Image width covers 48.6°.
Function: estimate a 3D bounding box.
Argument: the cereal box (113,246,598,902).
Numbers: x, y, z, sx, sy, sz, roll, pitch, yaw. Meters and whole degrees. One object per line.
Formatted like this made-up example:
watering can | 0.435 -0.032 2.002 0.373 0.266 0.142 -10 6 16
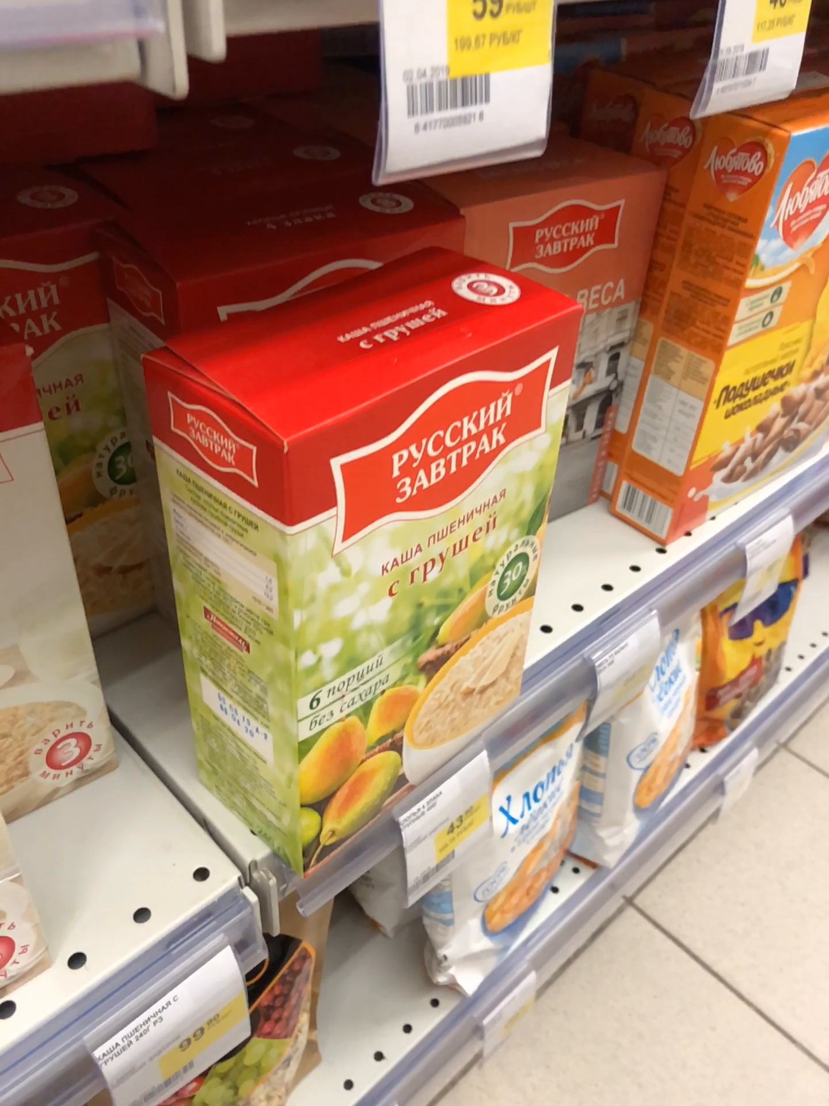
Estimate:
cereal box | -0.015 0.008 0.329 0.060 0.189 0.141 32 46 32
